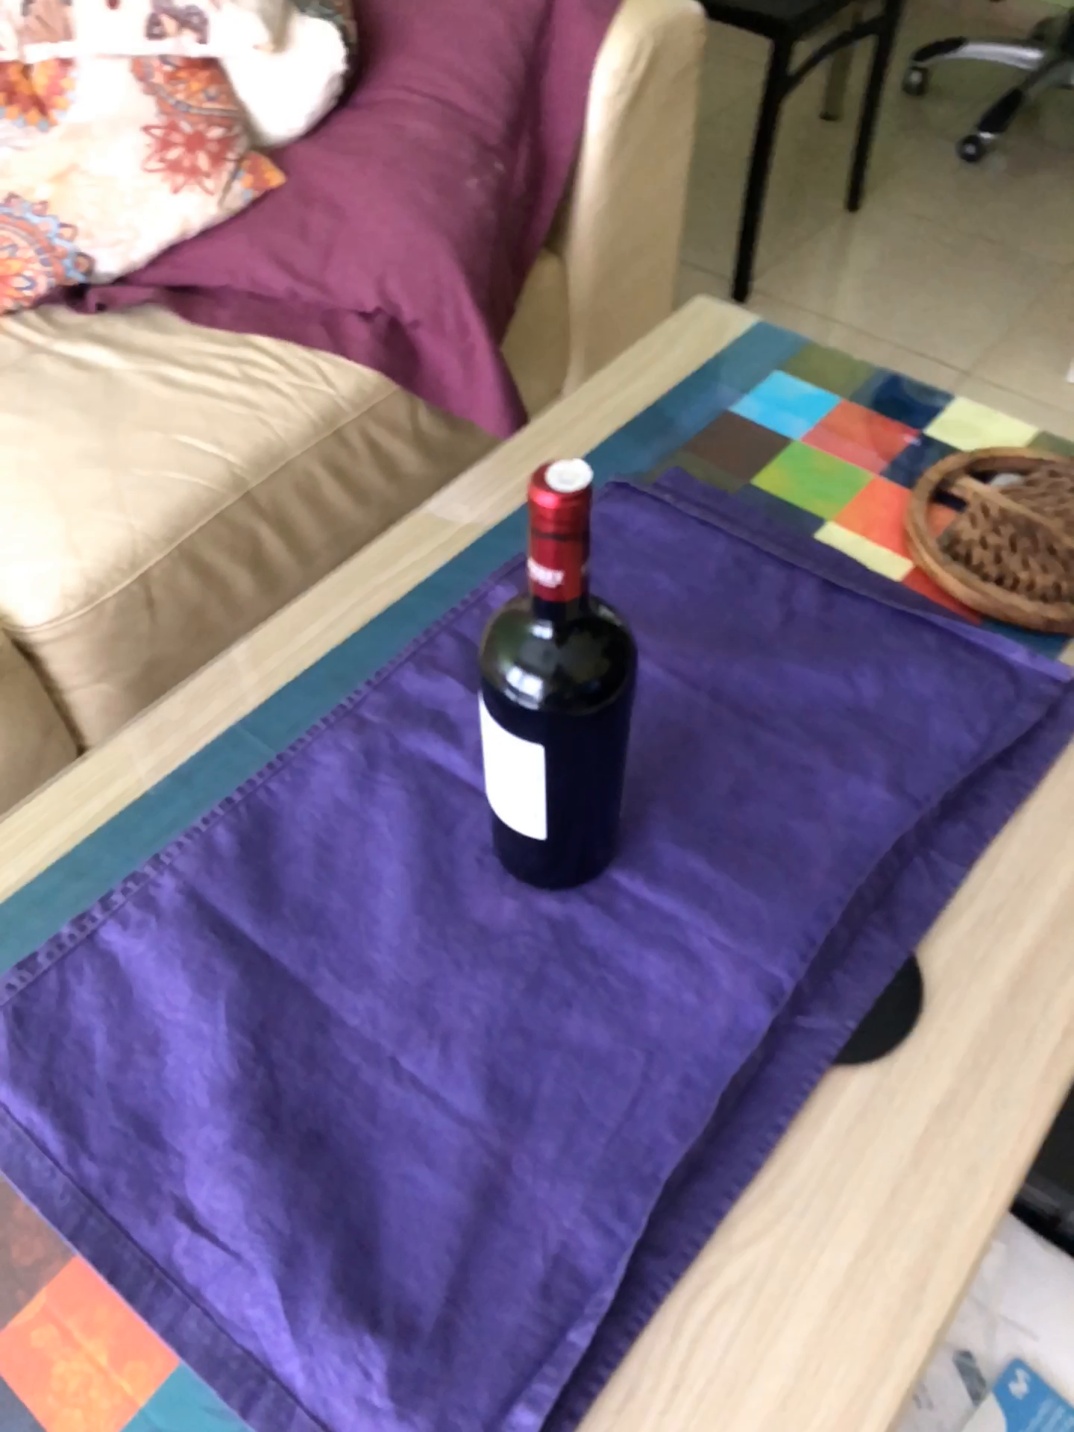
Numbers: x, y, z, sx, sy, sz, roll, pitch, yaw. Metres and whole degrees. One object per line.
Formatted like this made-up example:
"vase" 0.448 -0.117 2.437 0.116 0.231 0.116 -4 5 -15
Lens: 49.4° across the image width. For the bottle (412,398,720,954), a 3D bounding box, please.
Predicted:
"bottle" 0.010 -0.006 0.580 0.090 0.269 0.090 0 49 0
